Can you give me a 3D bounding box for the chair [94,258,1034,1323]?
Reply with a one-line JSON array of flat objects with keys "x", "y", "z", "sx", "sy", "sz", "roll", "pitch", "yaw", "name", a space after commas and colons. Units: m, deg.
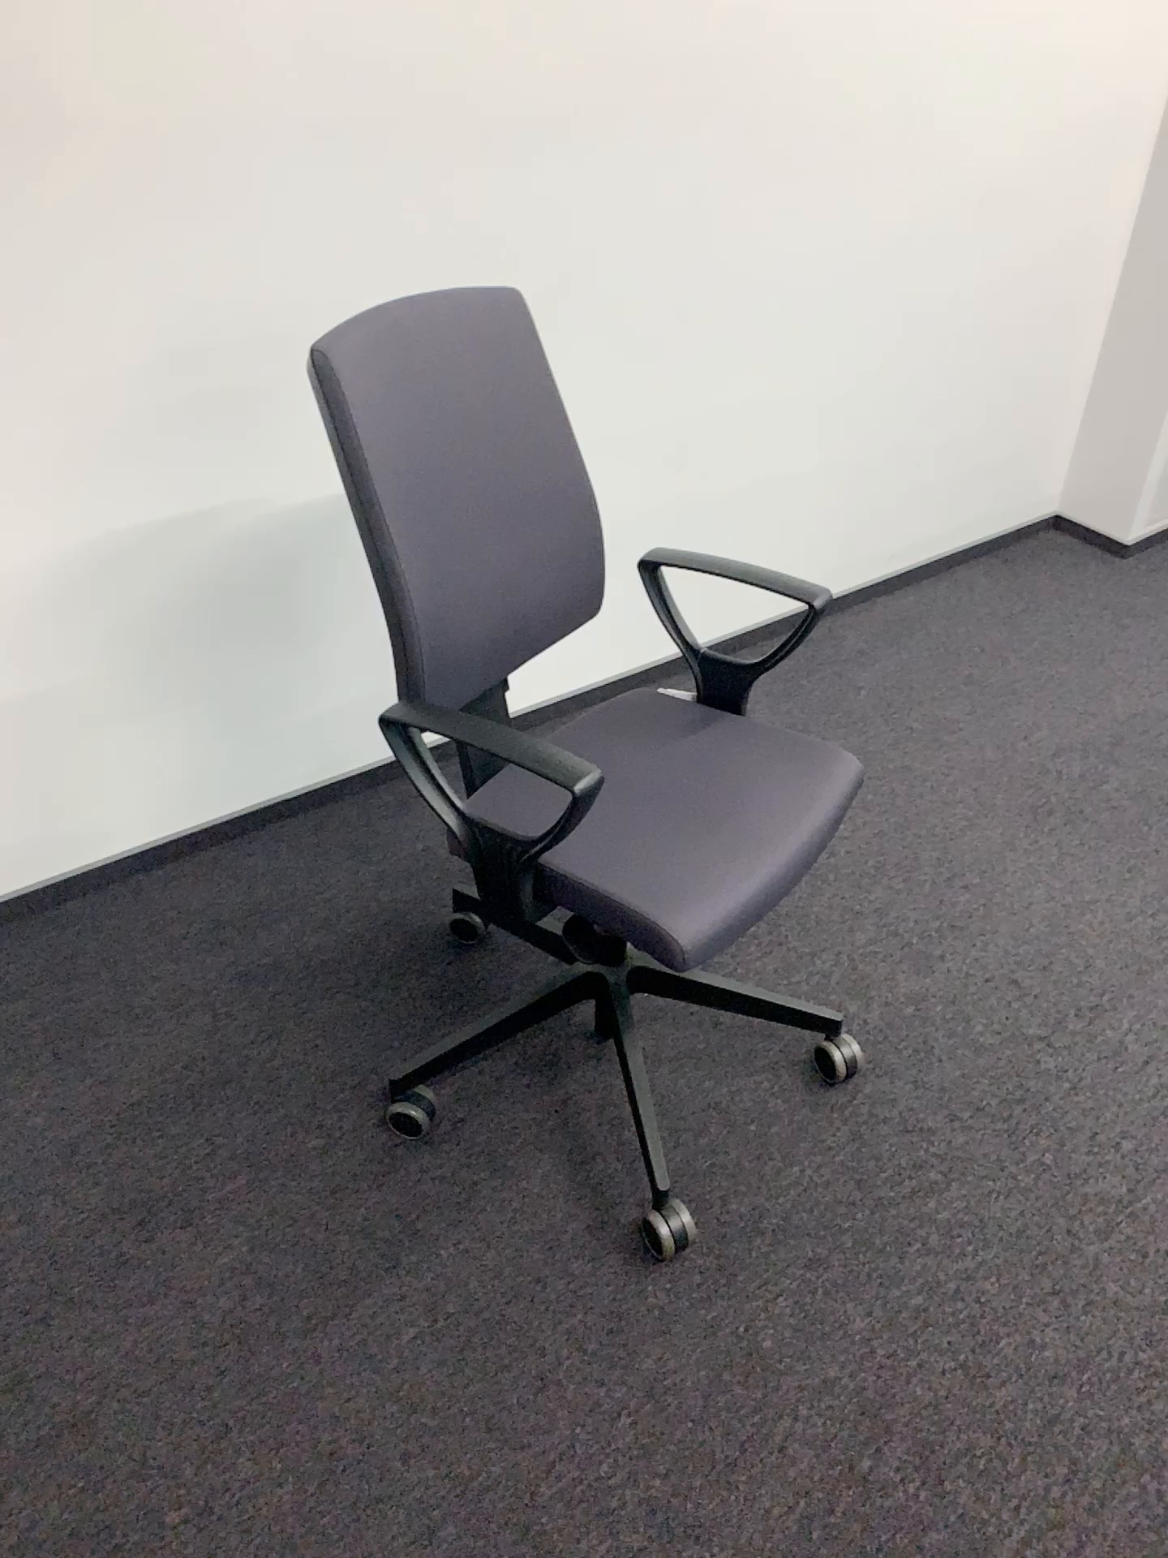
[{"x": 0.004, "y": -0.055, "z": 1.606, "sx": 0.781, "sy": 1.034, "sz": 0.703, "roll": 21, "pitch": 39, "yaw": 32, "name": "chair"}]
